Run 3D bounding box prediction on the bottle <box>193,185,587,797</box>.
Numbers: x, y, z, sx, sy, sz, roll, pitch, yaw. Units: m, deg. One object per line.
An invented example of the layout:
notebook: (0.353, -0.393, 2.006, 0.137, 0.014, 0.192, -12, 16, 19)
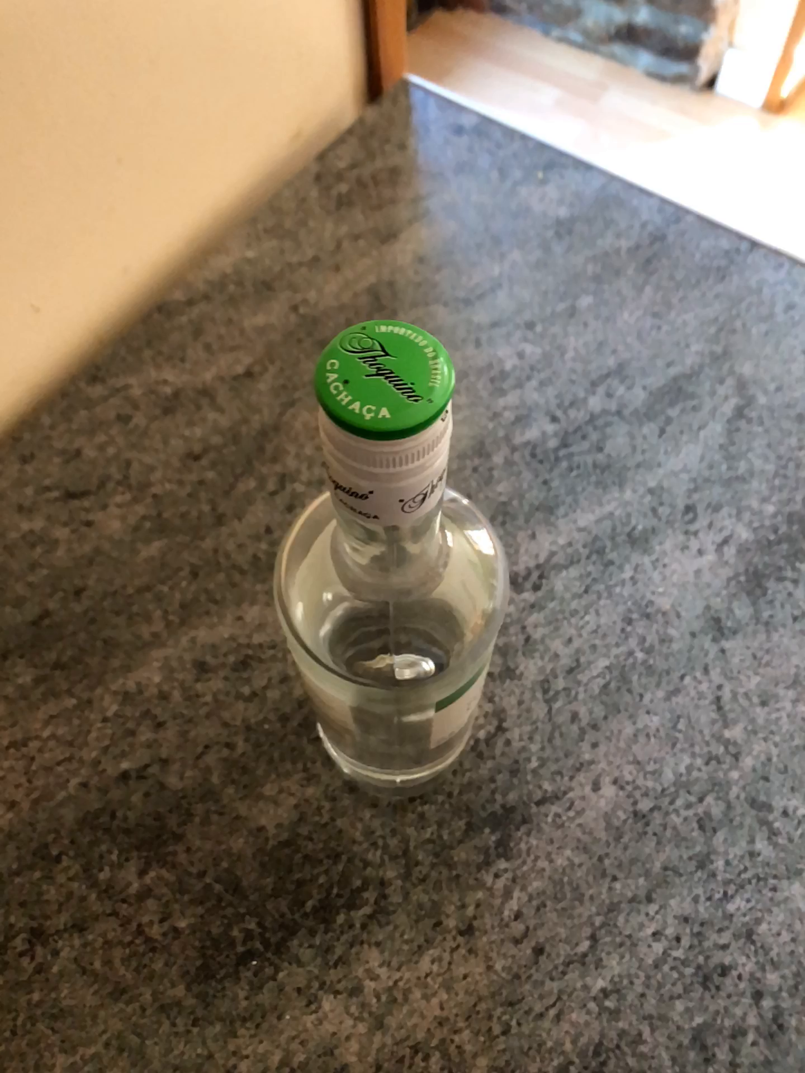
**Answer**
bottle: (0.000, 0.018, 0.323, 0.080, 0.279, 0.080, -1, 60, 1)
